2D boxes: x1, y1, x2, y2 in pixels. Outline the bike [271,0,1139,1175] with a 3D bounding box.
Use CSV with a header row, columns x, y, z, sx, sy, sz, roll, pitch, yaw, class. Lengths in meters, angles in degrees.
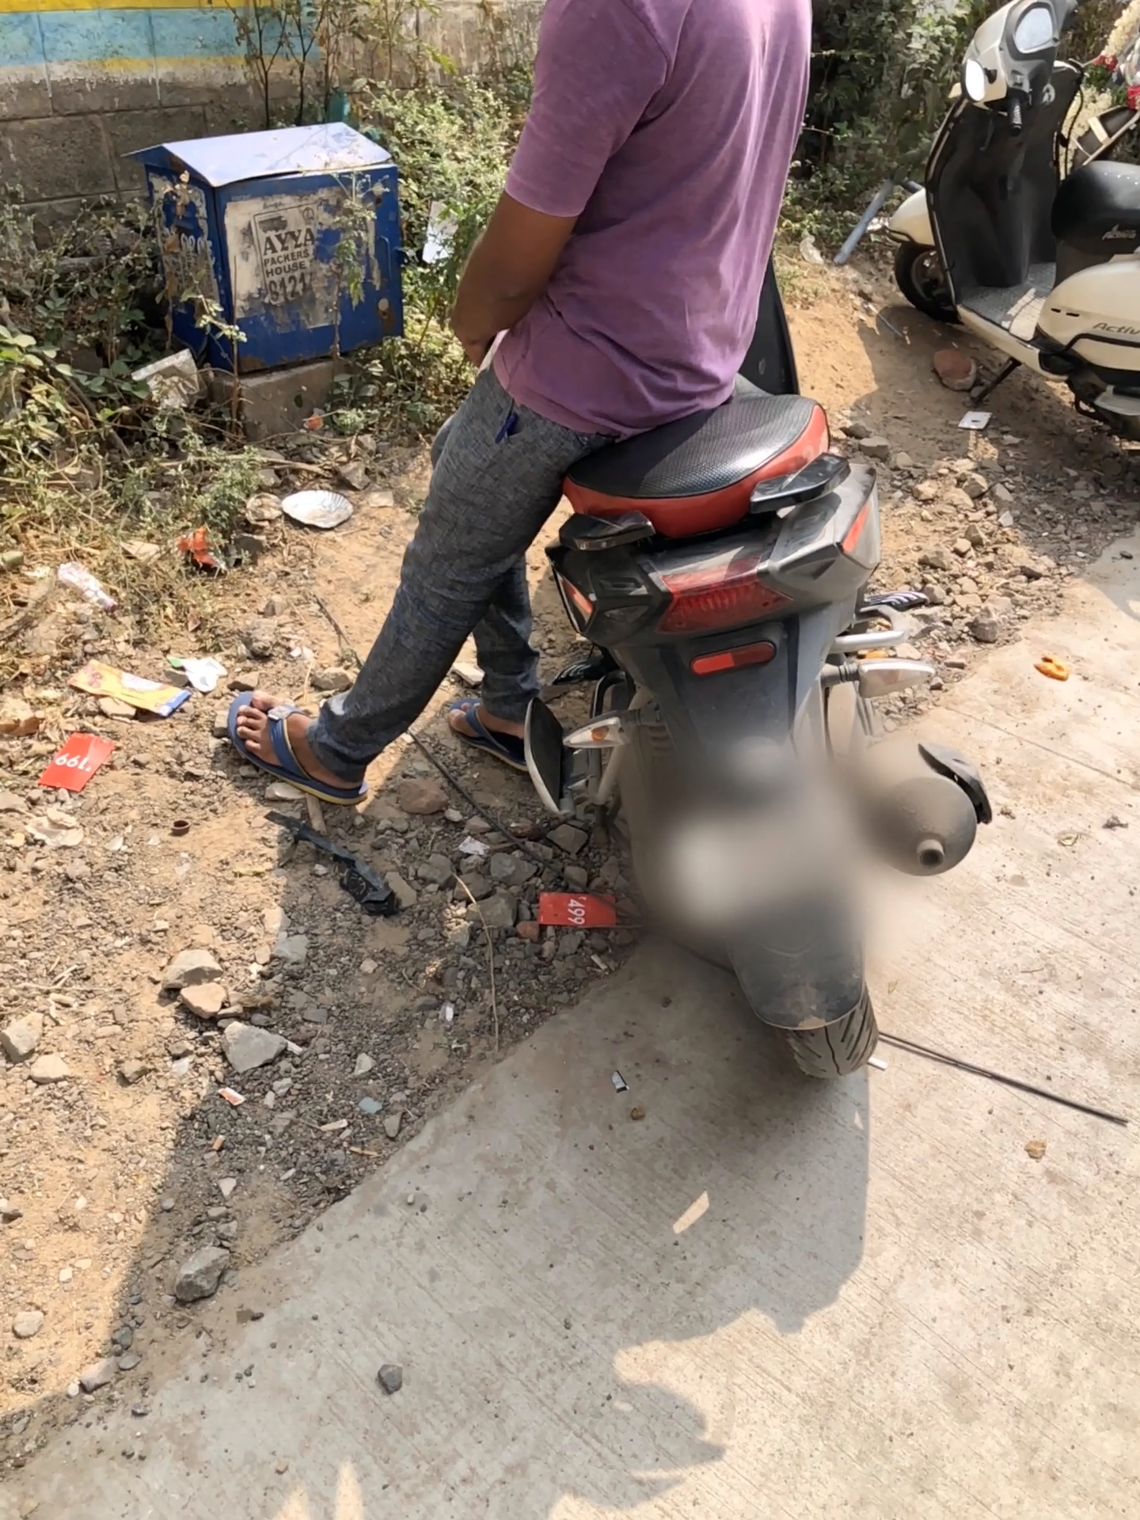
x,y,z,sx,sy,sz,roll,pitch,yaw,class
-0.042,-0.527,1.937,0.718,1.199,1.774,-3,38,-10,bike
